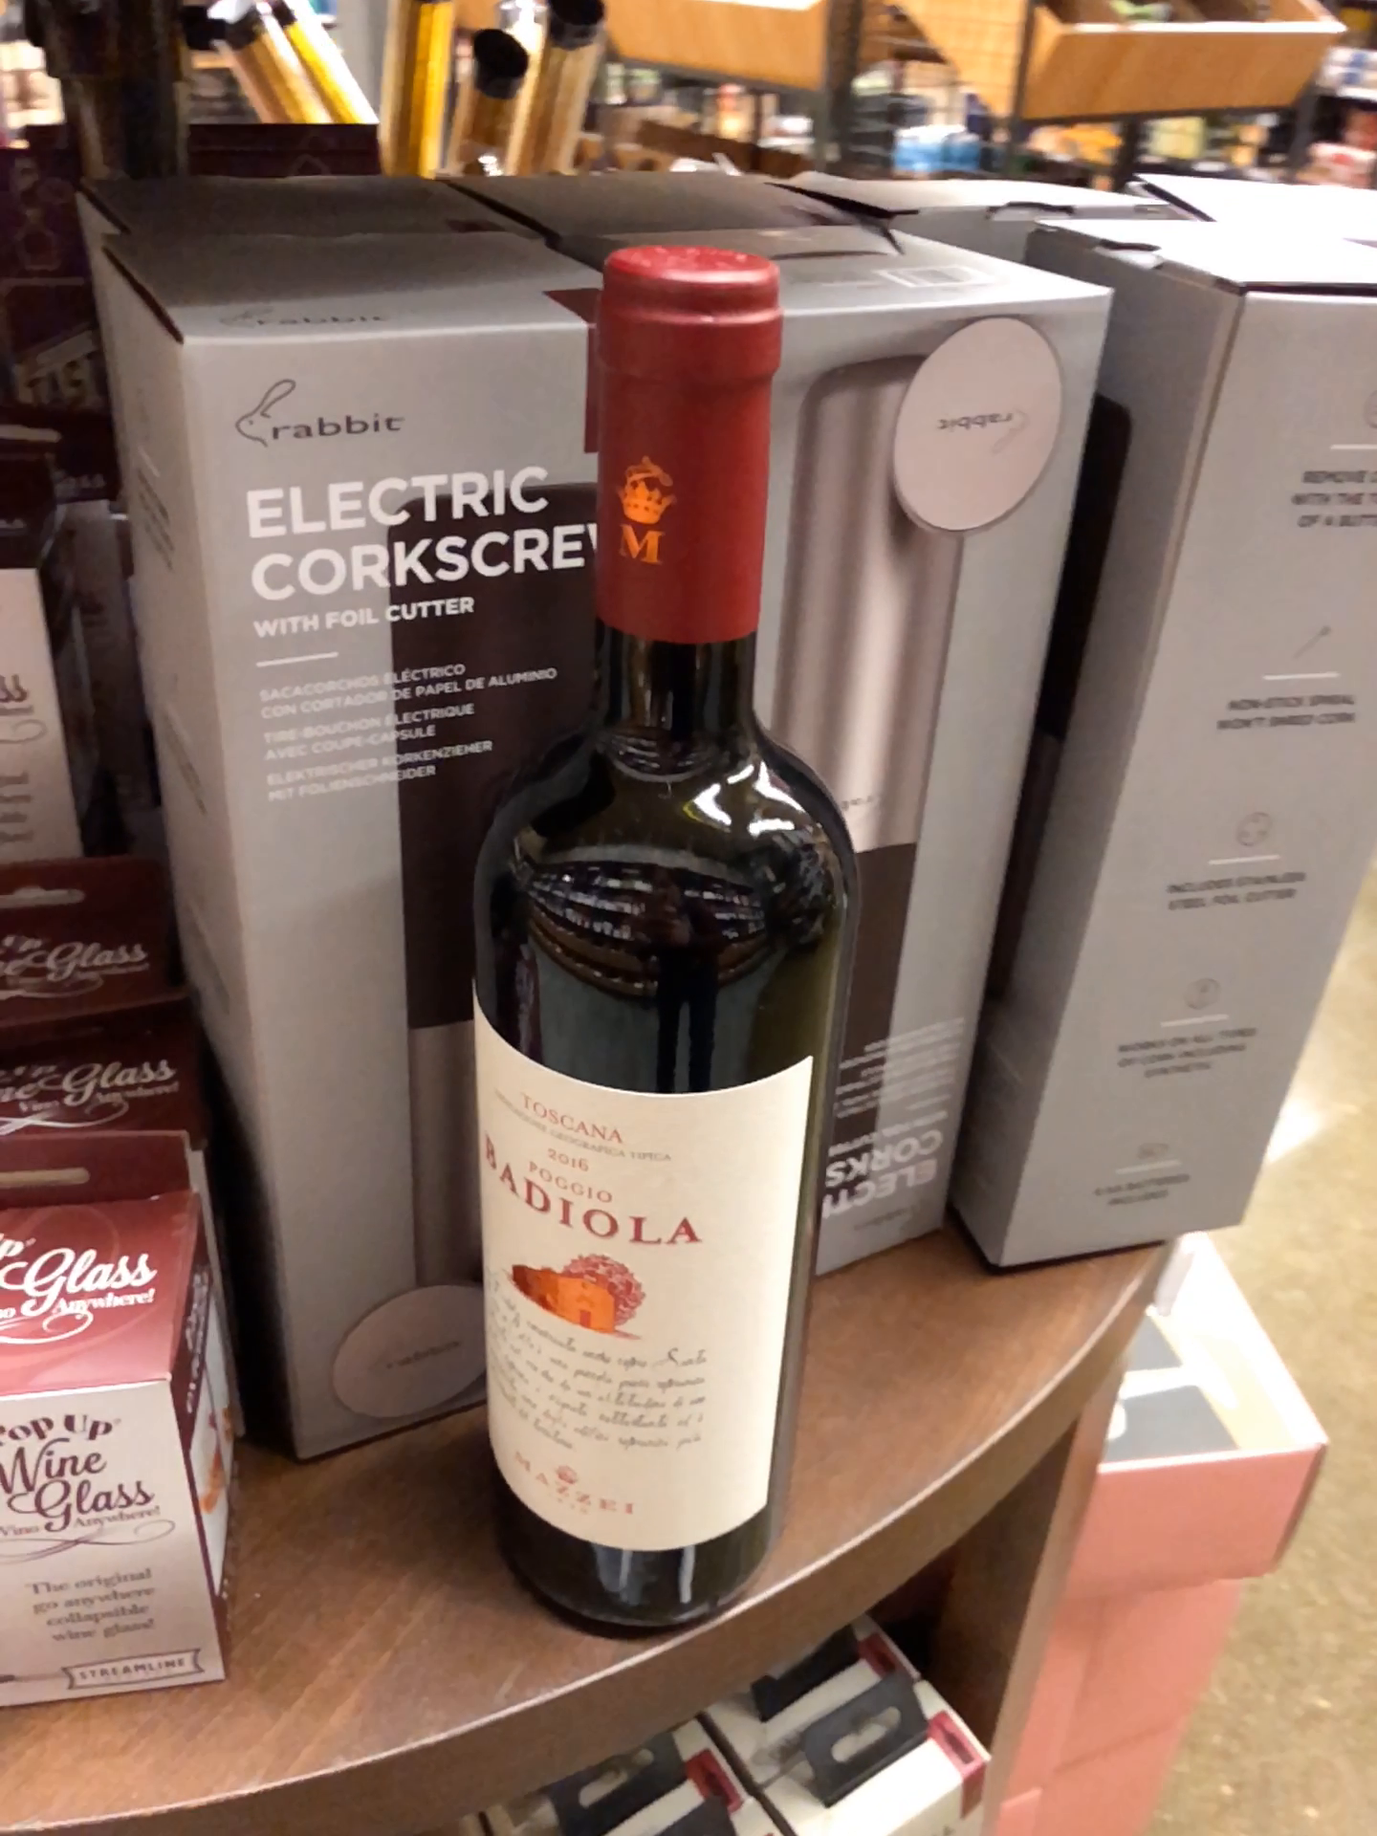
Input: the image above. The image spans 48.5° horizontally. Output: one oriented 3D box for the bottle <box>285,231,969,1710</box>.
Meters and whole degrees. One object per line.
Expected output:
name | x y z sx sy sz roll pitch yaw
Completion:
bottle | -0.010 0.028 0.301 0.076 0.285 0.073 2 33 -1
